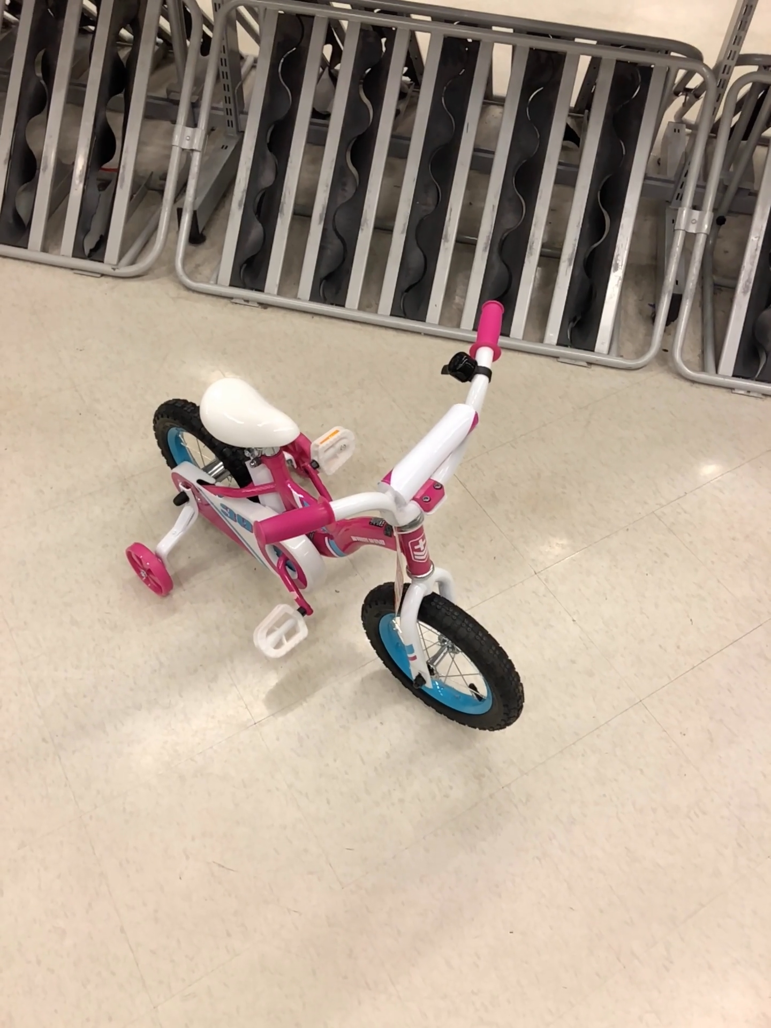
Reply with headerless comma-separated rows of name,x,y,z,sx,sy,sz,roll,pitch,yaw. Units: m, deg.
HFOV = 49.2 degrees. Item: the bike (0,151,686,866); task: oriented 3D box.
bike,-0.129,-0.025,1.259,0.816,0.625,0.462,35,59,24
